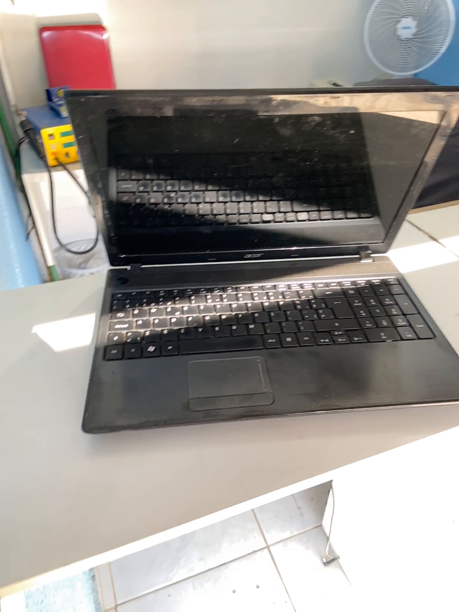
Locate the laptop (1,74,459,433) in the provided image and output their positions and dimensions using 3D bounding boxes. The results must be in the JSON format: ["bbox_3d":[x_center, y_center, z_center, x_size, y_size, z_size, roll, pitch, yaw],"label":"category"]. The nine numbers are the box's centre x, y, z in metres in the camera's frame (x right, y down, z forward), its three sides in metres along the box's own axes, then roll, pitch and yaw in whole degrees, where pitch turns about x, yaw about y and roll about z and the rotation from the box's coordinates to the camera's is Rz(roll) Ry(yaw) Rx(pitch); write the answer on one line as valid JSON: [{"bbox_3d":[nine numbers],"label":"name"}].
[{"bbox_3d":[0.039,-0.068,0.463,0.374,0.234,0.255,-4,38,-5],"label":"laptop"}]
